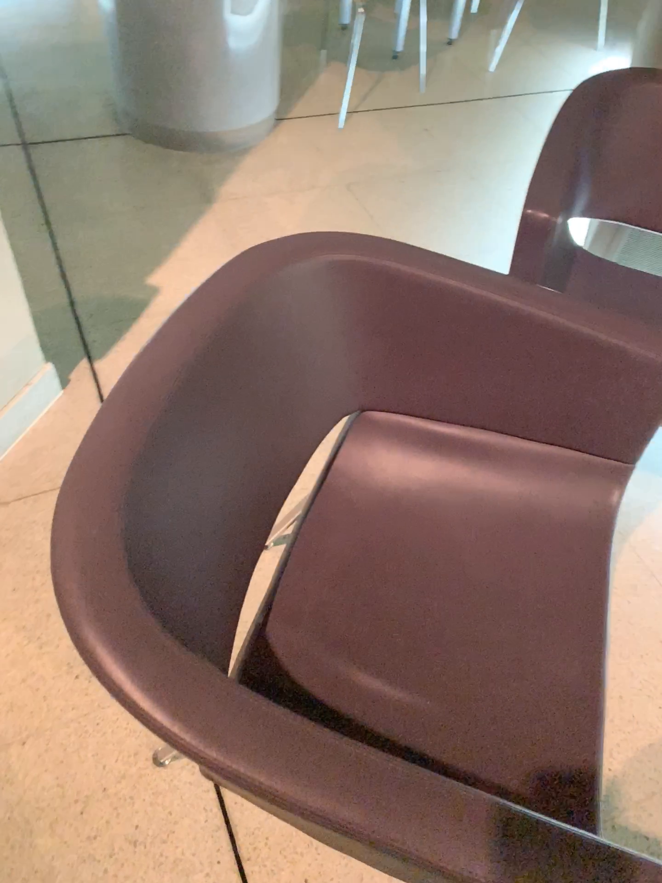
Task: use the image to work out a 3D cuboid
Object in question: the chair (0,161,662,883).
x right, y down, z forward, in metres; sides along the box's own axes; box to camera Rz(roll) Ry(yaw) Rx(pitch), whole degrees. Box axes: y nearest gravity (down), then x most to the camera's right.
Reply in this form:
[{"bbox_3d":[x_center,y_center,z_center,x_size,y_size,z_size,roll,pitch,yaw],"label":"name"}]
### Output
[{"bbox_3d":[0.113,0.194,0.968,0.750,0.714,0.736,19,50,9],"label":"chair"}]
